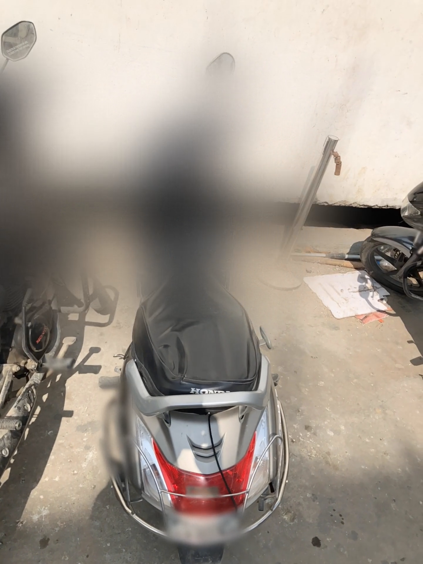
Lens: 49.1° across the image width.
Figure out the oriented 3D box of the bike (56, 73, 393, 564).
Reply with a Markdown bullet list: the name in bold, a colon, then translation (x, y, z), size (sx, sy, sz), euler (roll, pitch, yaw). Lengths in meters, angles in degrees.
- **bike**: translation (-0.121, 0.038, 1.739), size (0.616, 1.108, 1.507), euler (6, 36, -12)
